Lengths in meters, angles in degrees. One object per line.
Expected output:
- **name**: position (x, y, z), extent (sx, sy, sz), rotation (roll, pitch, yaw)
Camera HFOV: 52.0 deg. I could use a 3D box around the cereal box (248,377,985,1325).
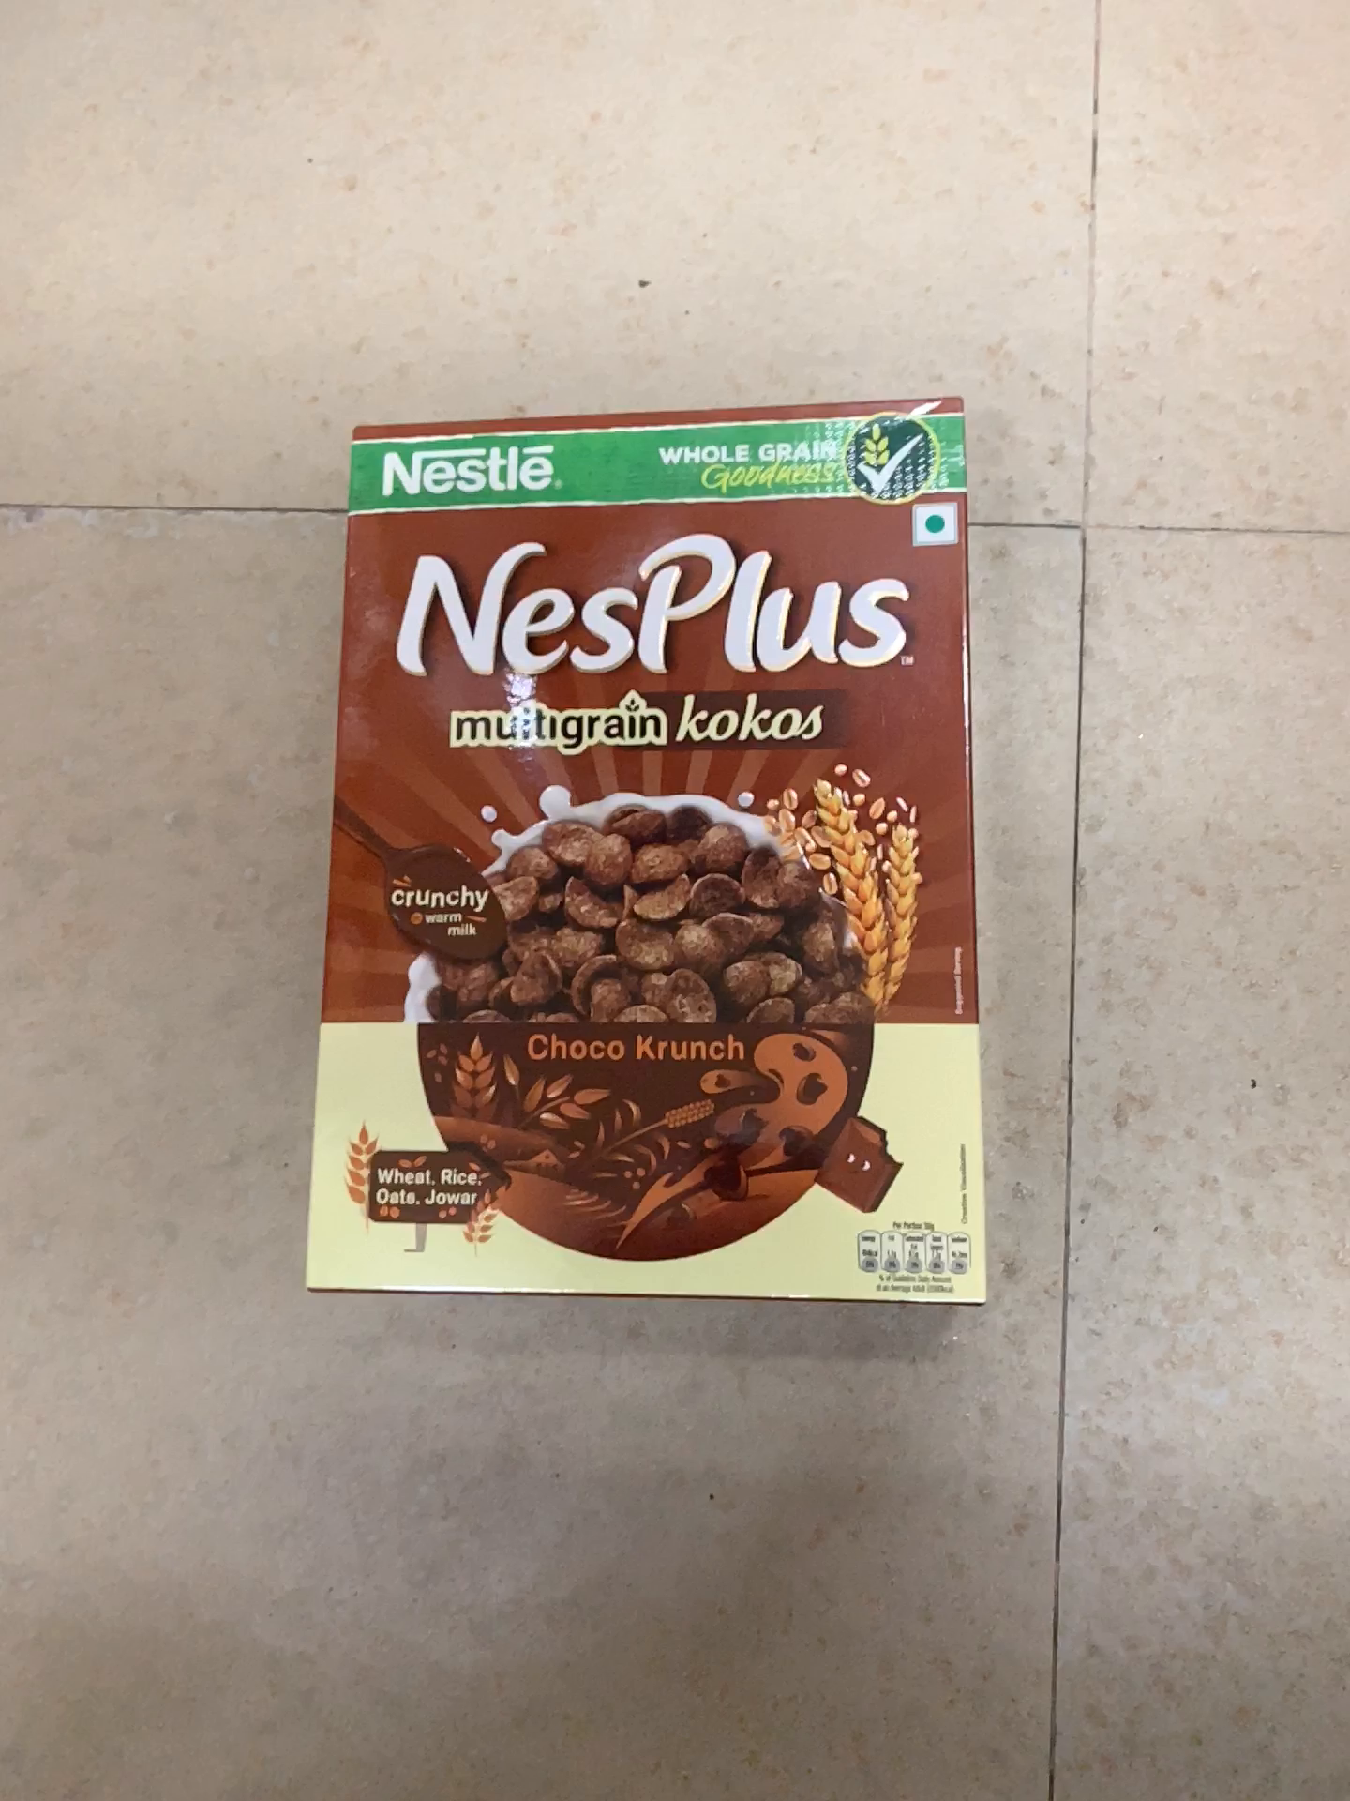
- **cereal box**: position (-0.012, -0.015, 0.457), extent (0.210, 0.090, 0.280), rotation (0, 81, 6)
